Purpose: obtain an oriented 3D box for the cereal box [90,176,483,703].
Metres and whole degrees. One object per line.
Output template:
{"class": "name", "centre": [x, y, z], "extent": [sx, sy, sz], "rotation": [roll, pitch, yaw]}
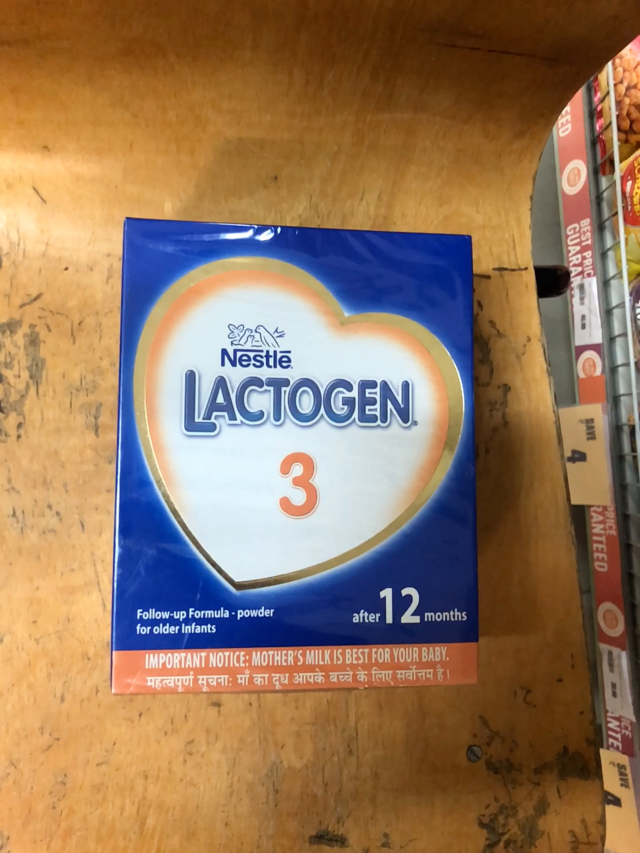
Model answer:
{"class": "cereal box", "centre": [-0.014, 0.005, 0.309], "extent": [0.150, 0.060, 0.200], "rotation": [1, 85, -8]}
